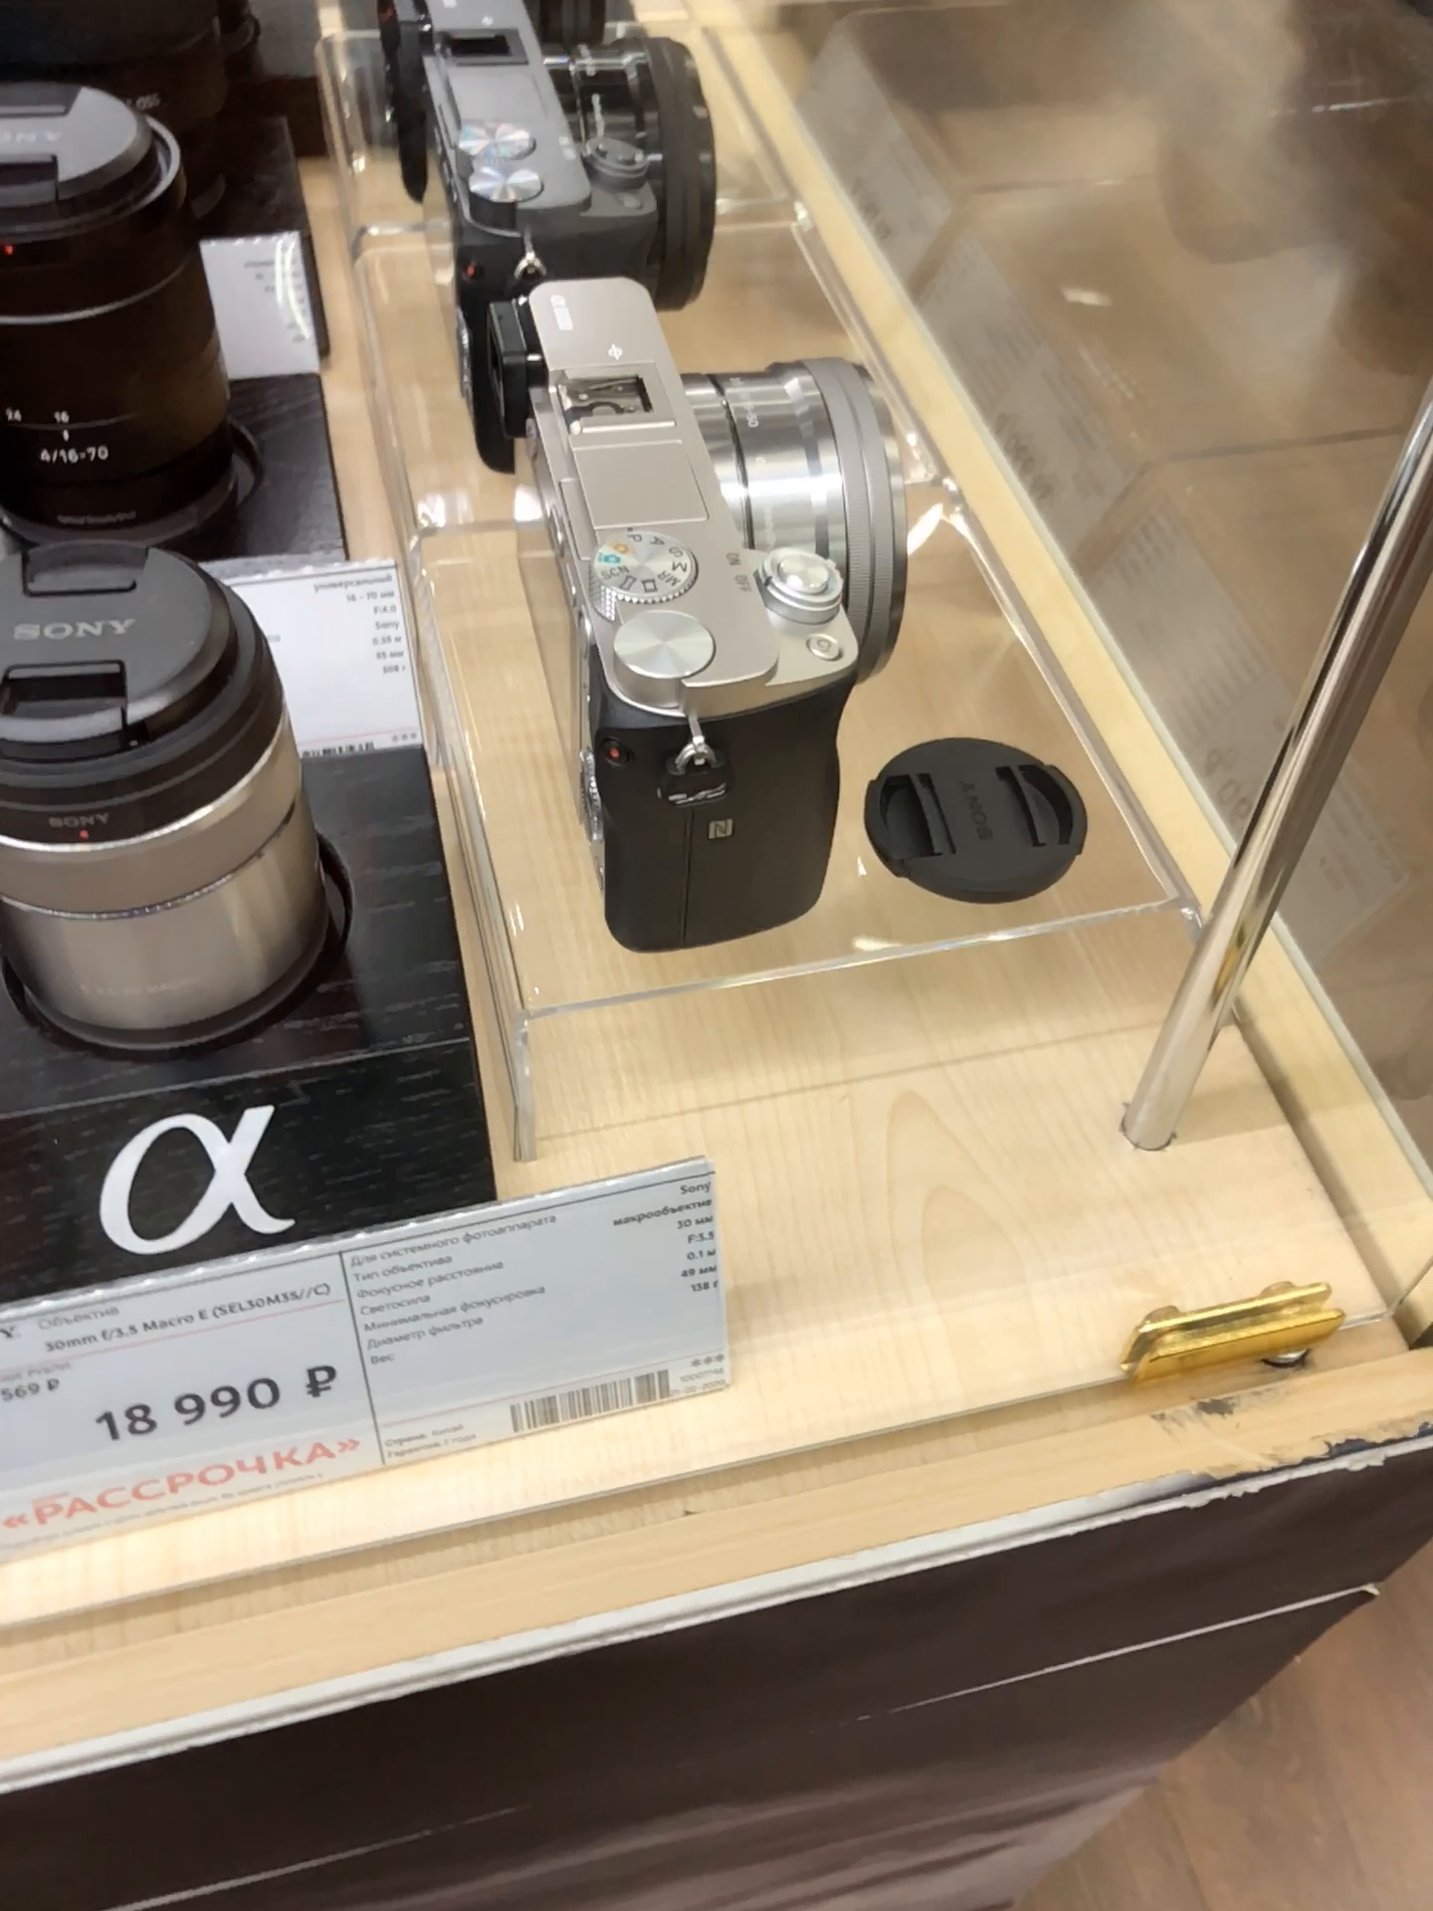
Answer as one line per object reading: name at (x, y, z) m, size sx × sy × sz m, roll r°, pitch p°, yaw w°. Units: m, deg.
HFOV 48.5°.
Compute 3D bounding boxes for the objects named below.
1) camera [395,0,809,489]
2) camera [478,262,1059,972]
camera at (-0.032, -0.183, 0.396) m, size 0.076 × 0.061 × 0.128 m, roll -8°, pitch 53°, yaw -10°
camera at (0.002, -0.069, 0.305) m, size 0.076 × 0.061 × 0.124 m, roll -8°, pitch 53°, yaw -10°
